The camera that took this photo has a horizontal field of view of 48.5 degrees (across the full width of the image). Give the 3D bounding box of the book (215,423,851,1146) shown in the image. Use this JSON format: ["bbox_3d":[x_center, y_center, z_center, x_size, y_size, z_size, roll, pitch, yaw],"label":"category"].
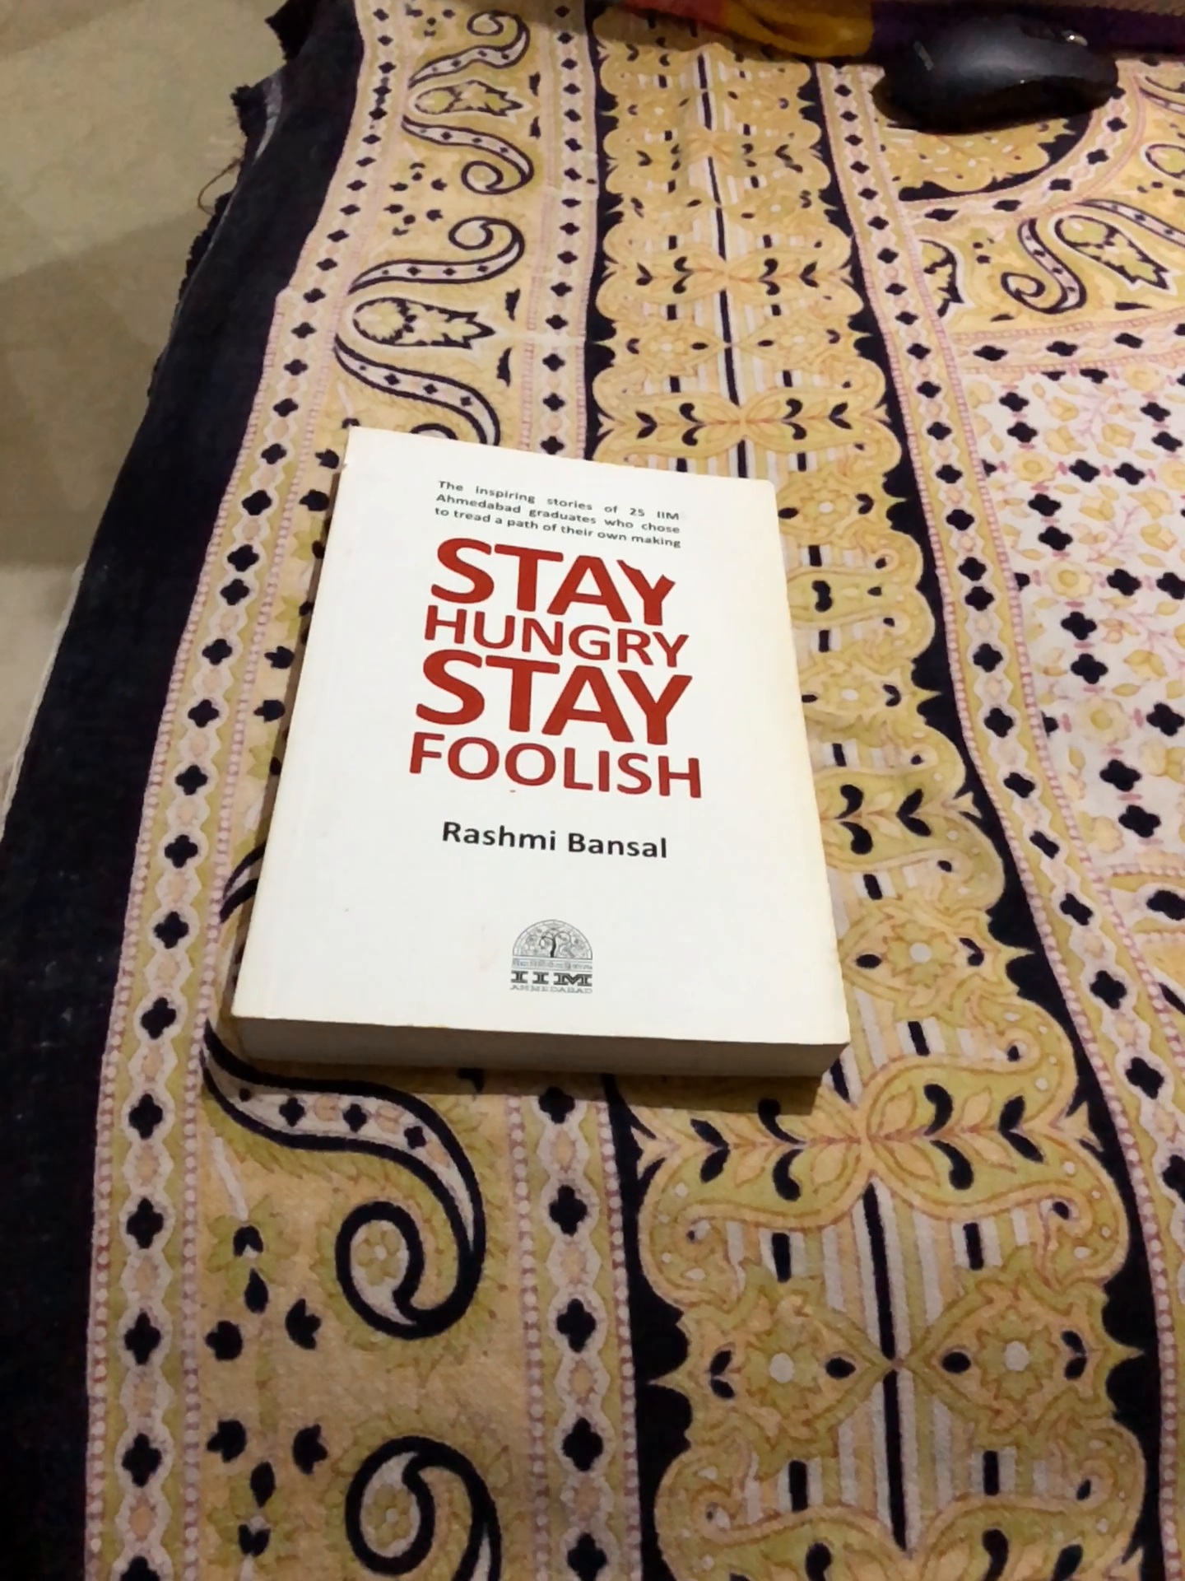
[{"bbox_3d":[-0.012,-0.014,0.369,0.140,0.040,0.211,5,52,-5],"label":"book"}]
